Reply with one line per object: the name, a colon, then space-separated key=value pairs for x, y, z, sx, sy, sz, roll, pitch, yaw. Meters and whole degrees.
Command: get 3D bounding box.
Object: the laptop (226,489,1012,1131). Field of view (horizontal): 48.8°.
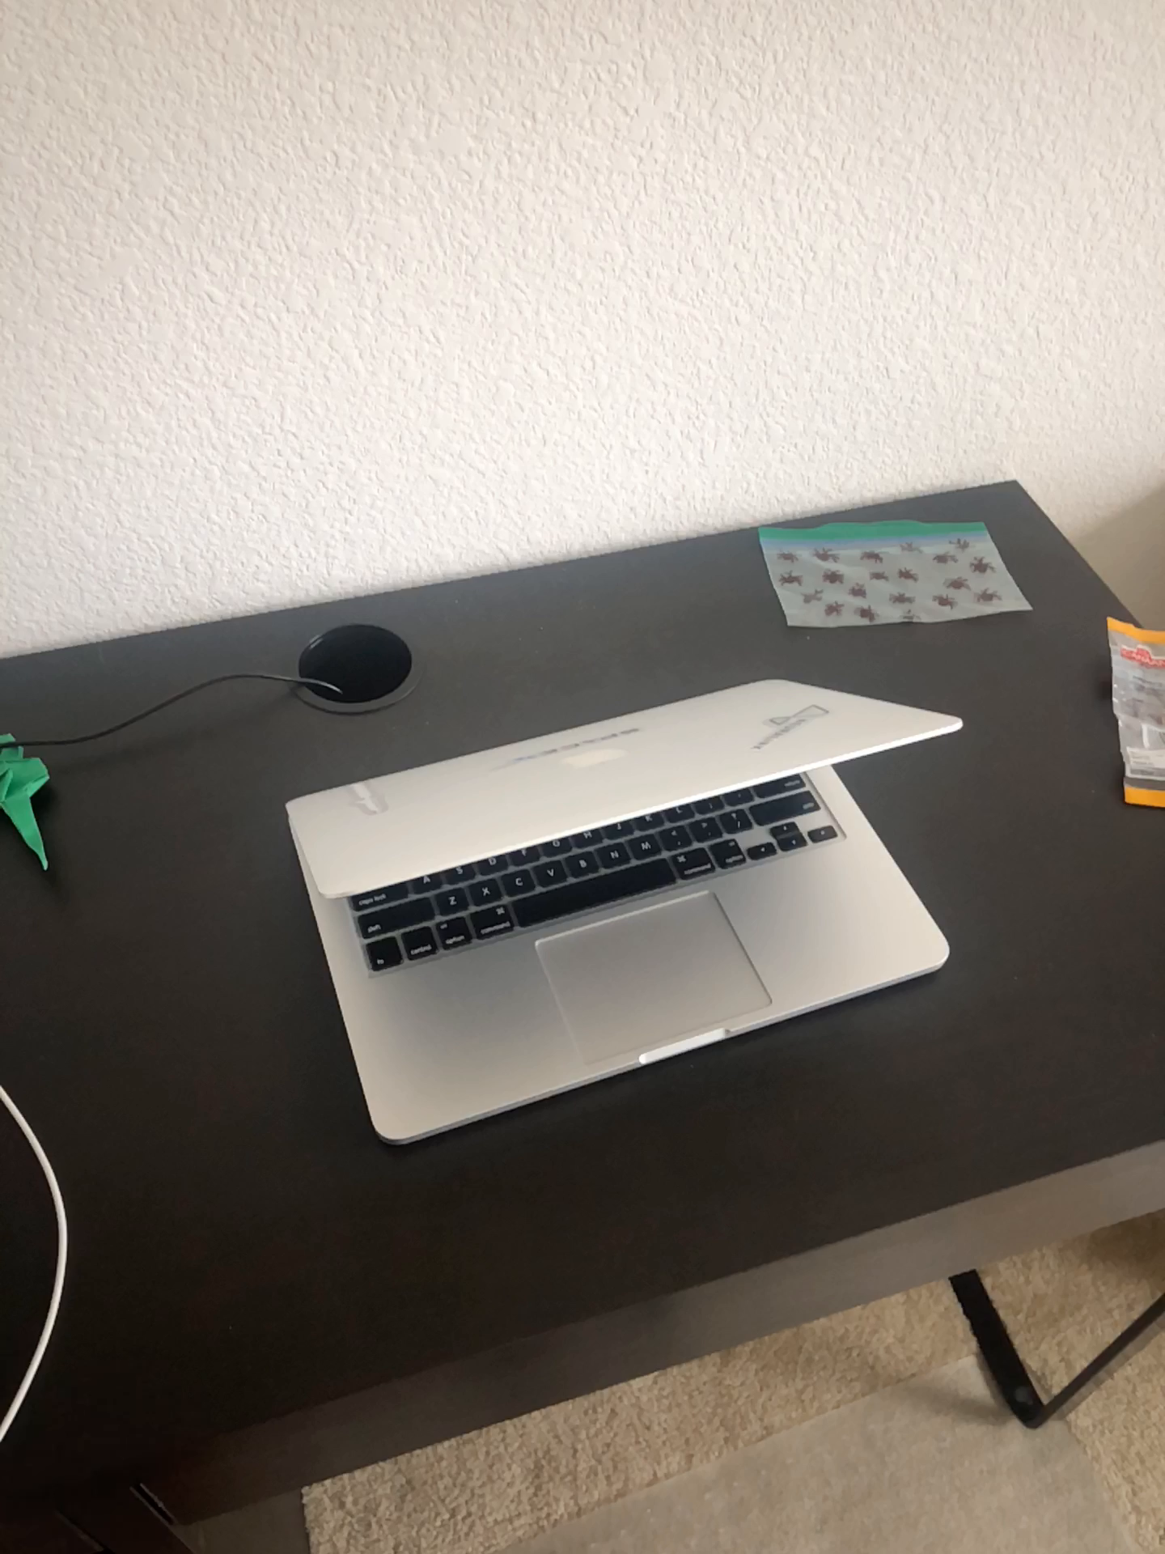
laptop: x=0.006 y=0.002 z=0.648 sx=0.309 sy=0.133 sz=0.225 roll=-14 pitch=50 yaw=-14
